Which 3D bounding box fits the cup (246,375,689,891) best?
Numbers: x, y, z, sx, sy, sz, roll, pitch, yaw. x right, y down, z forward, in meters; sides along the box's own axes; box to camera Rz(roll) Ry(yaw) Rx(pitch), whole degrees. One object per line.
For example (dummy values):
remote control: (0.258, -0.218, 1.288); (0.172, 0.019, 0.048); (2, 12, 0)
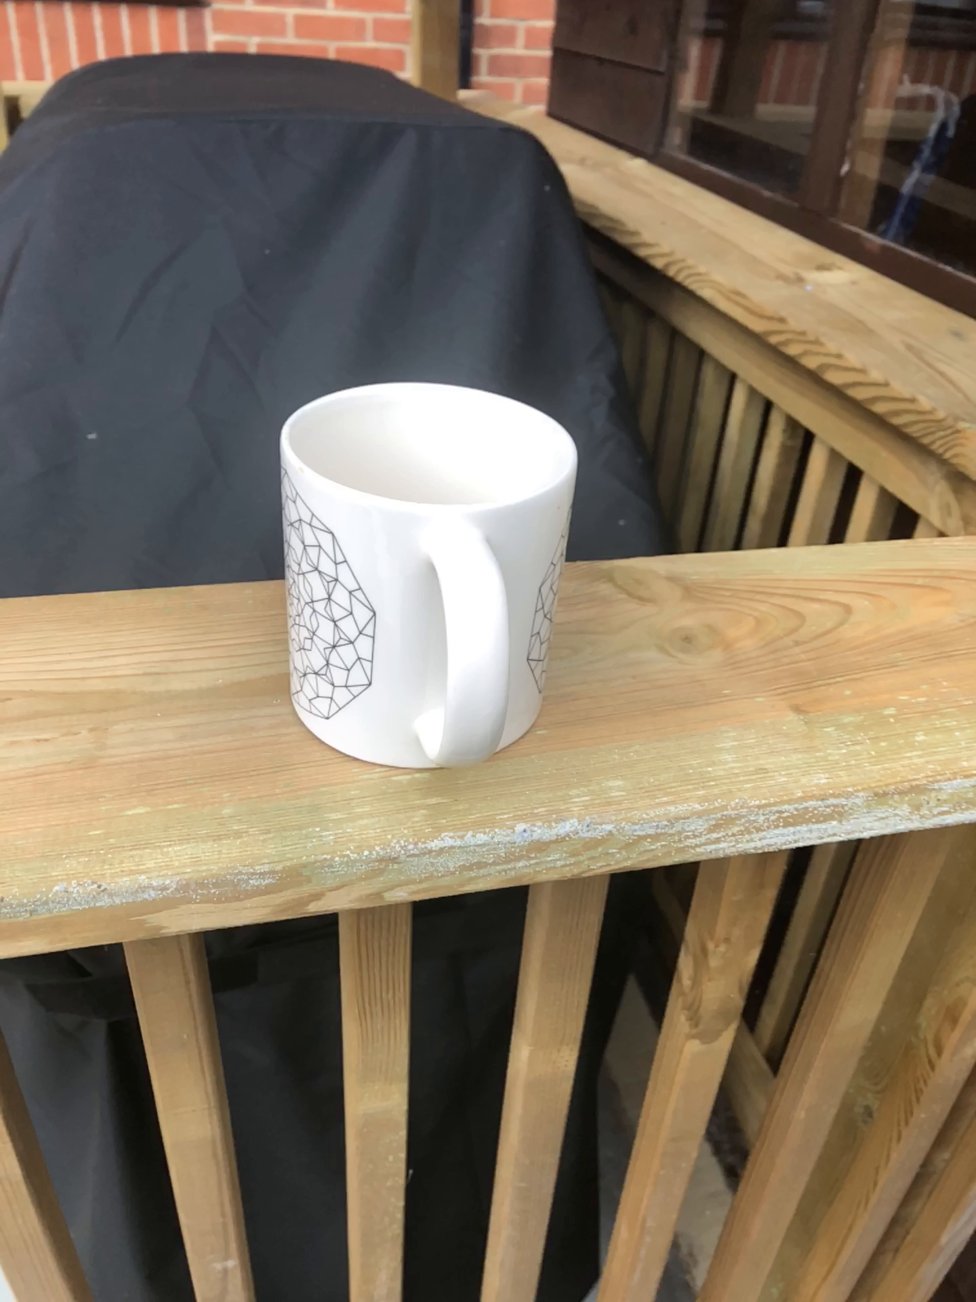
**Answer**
cup: (-0.016, -0.015, 0.321); (0.090, 0.089, 0.131); (-7, 33, -16)
